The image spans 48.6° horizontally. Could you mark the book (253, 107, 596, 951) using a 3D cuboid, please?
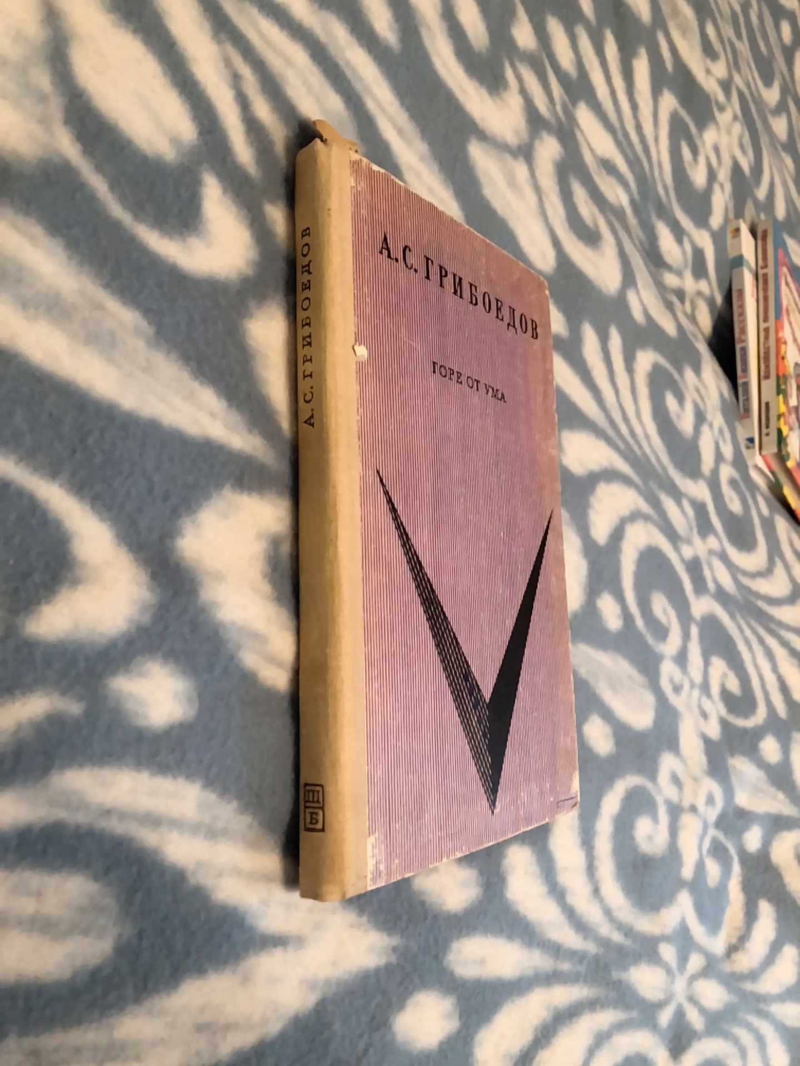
[{"bbox_3d":[0.017,0.000,0.295,0.159,0.020,0.217,9,77,-53],"label":"book"}]
